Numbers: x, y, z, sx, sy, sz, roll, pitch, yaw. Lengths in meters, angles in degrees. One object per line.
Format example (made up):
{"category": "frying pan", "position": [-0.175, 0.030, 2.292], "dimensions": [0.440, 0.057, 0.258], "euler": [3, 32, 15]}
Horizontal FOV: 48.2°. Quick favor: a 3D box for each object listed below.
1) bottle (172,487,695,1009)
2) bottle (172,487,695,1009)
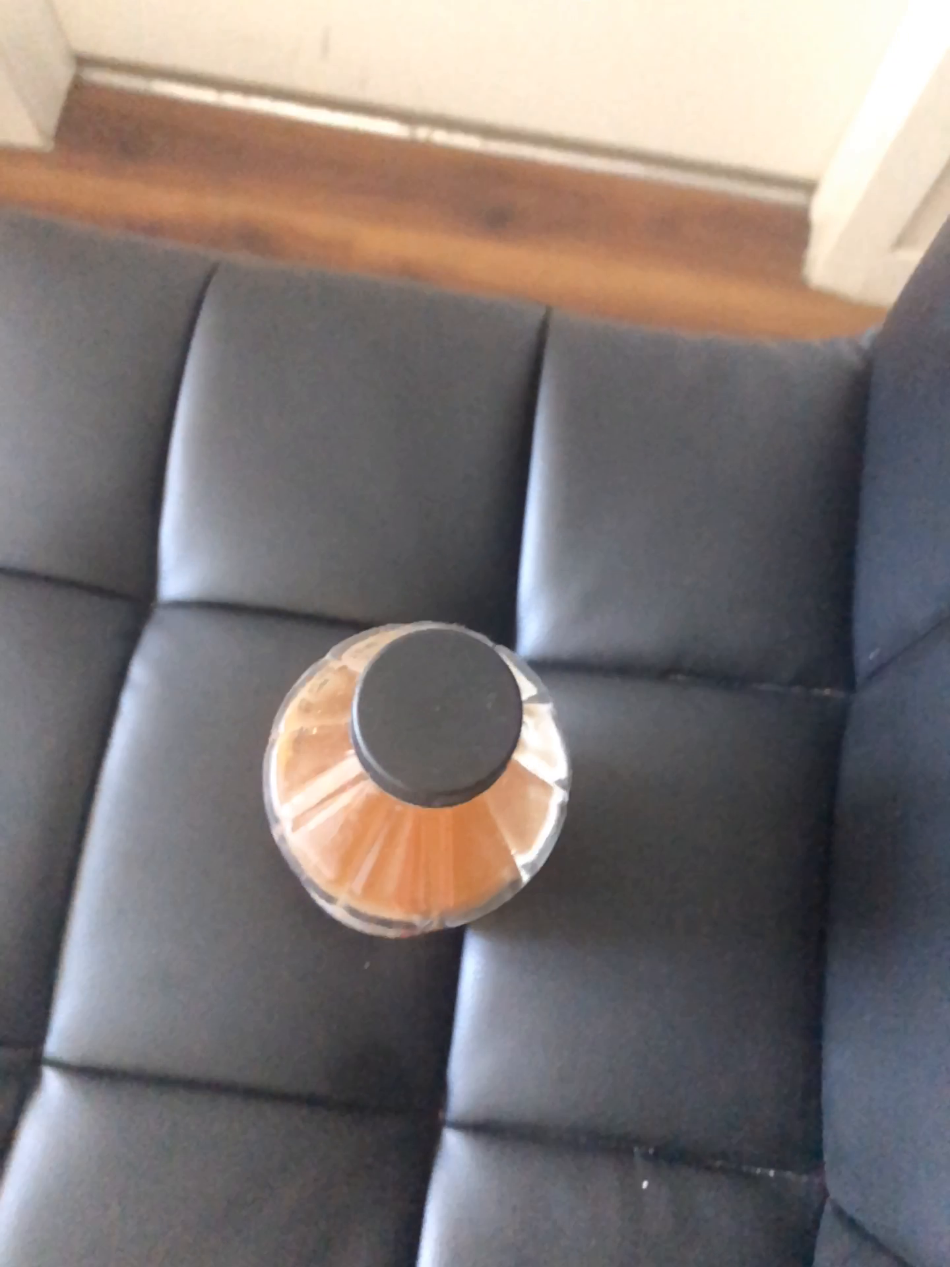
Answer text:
{"category": "bottle", "position": [-0.018, 0.038, 0.268], "dimensions": [0.070, 0.180, 0.070], "euler": [2, 76, -7]}
{"category": "bottle", "position": [-0.018, 0.038, 0.268], "dimensions": [0.070, 0.180, 0.070], "euler": [2, 76, -7]}
